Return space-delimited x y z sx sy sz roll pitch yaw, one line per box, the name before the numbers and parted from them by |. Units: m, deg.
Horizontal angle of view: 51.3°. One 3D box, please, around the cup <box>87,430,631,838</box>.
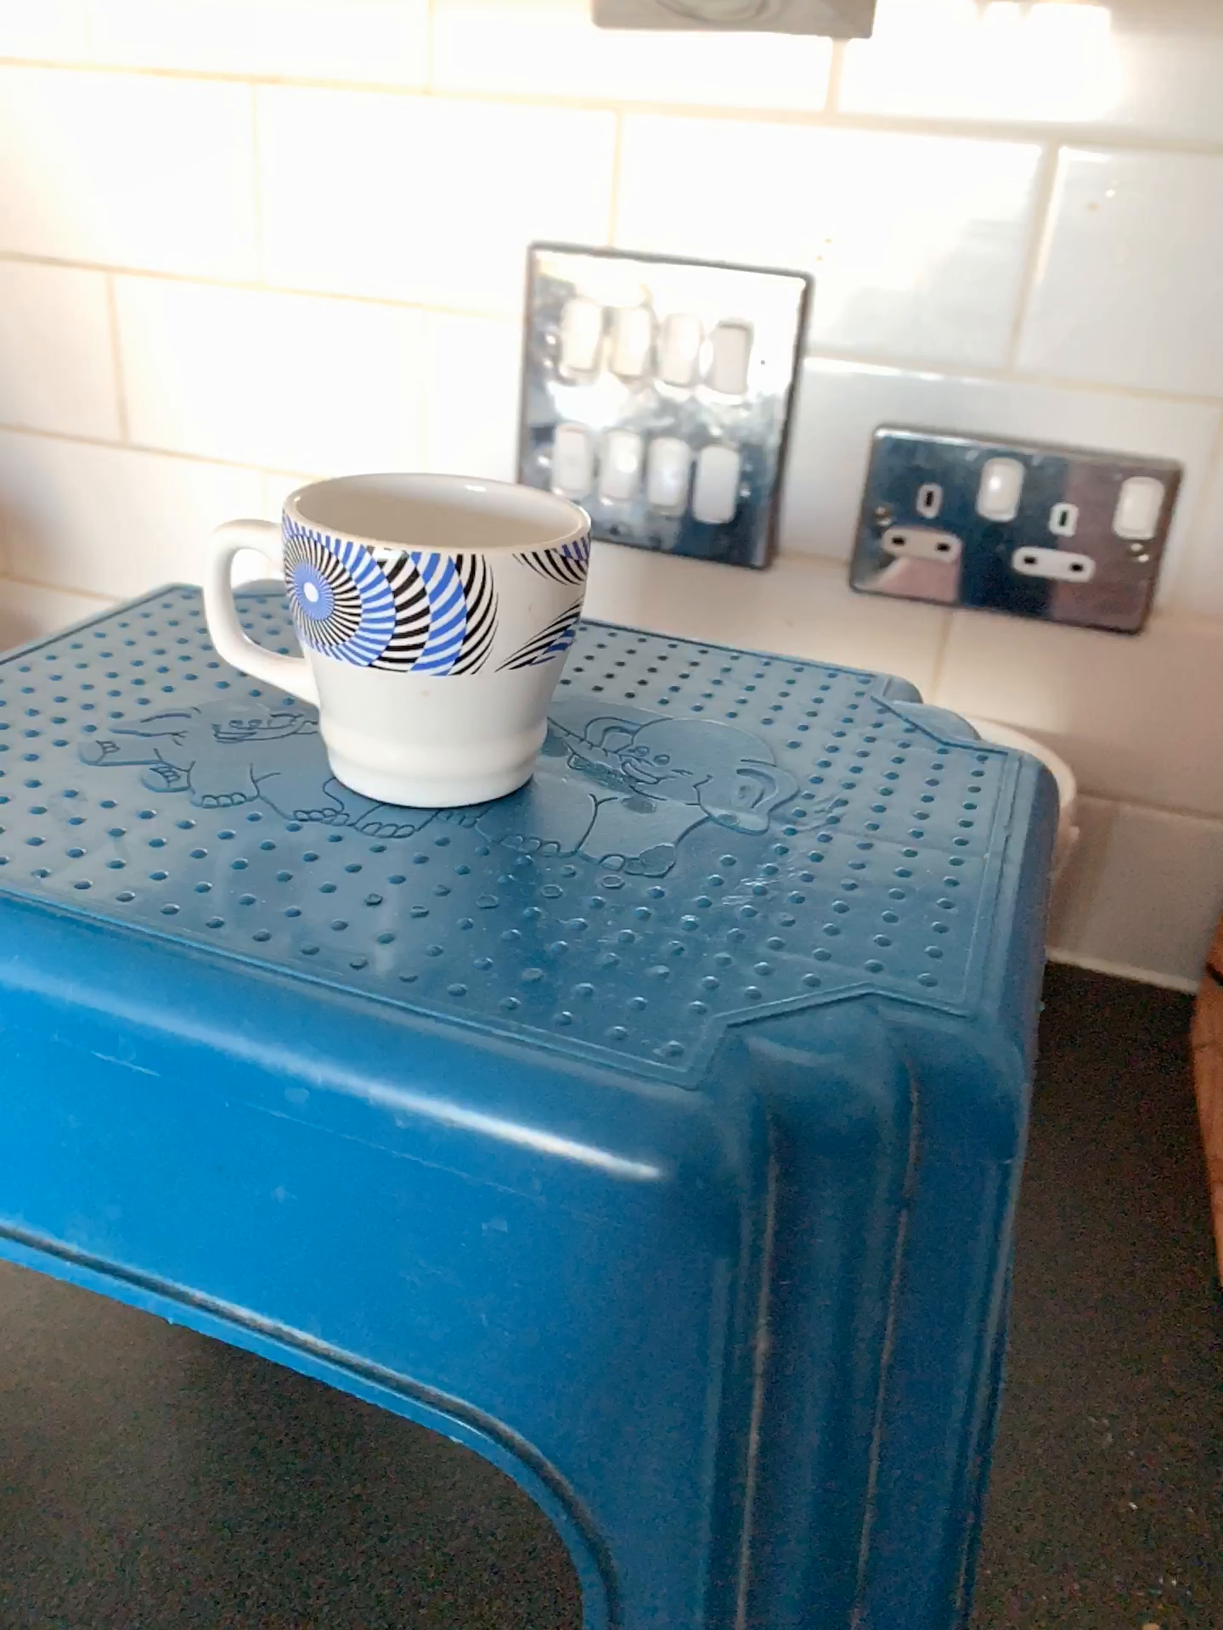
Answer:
cup | -0.052 -0.046 0.285 0.085 0.055 0.079 4 27 -2
